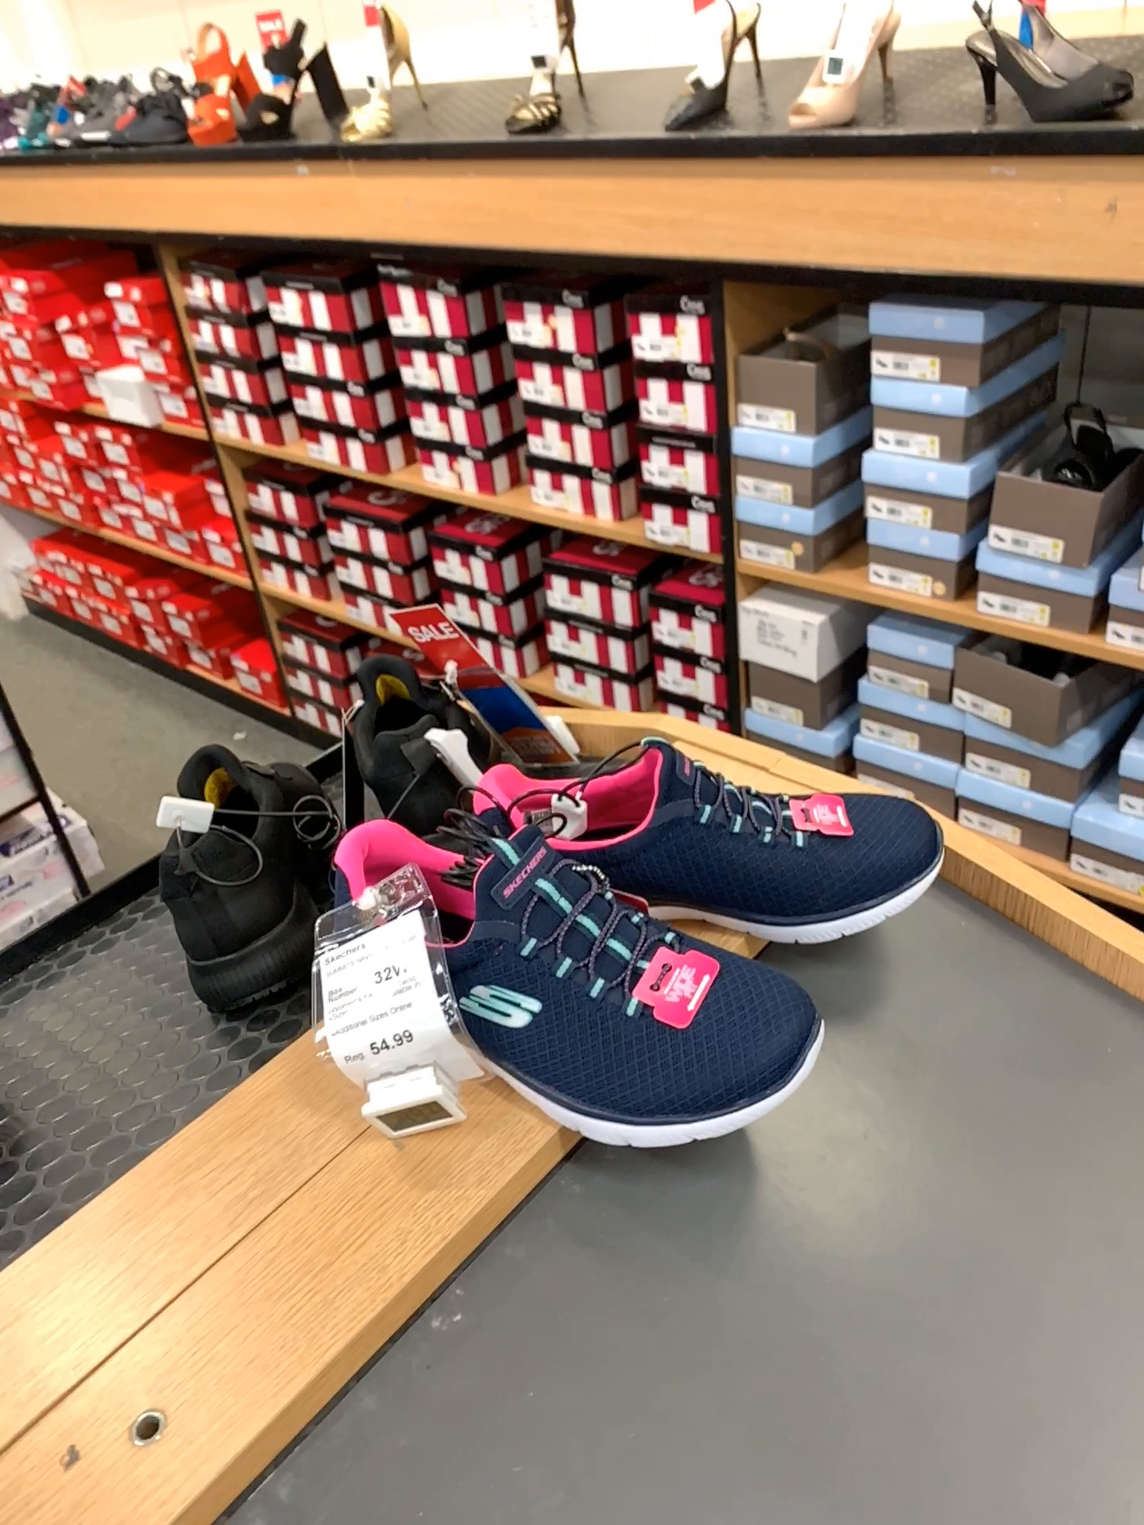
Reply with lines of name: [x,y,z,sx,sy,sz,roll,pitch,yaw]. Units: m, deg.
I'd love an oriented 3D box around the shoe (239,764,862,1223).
shoe: [-0.007,0.093,0.537,0.250,0.099,0.110,11,38,26]

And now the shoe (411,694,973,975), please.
shoe: [0.060,0.037,0.612,0.260,0.090,0.101,-3,34,7]
